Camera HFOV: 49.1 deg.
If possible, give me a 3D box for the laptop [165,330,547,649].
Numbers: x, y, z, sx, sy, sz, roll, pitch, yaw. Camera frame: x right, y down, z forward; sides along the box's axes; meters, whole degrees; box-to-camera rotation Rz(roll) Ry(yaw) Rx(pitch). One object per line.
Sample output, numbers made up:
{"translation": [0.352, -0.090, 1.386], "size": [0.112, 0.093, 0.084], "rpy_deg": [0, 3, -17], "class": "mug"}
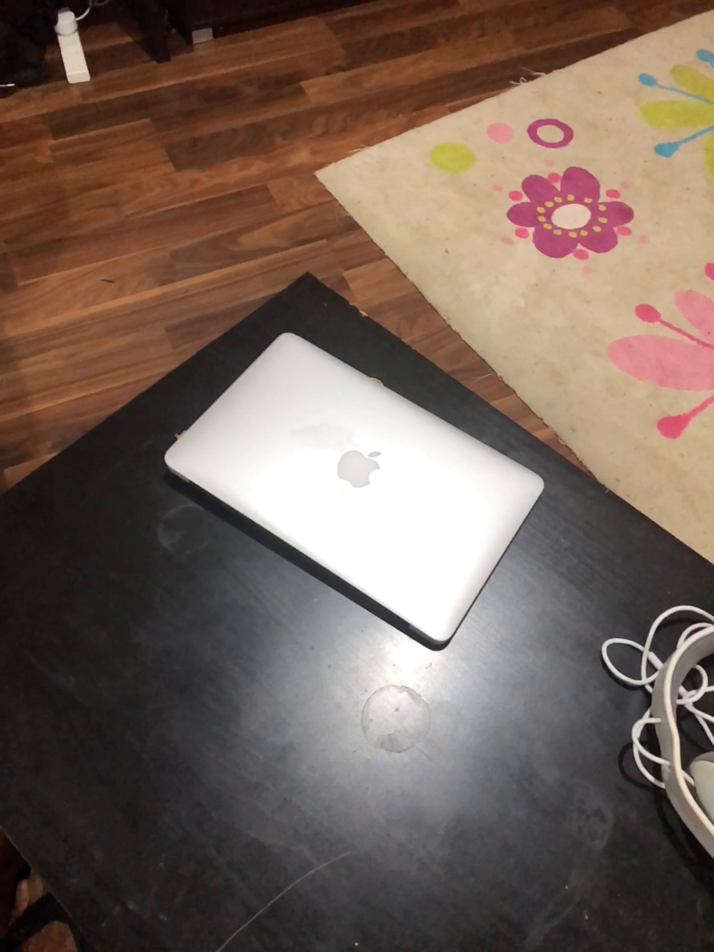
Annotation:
{"translation": [0.000, 0.000, 0.735], "size": [0.300, 0.011, 0.190], "rpy_deg": [32, 67, 12], "class": "laptop"}
